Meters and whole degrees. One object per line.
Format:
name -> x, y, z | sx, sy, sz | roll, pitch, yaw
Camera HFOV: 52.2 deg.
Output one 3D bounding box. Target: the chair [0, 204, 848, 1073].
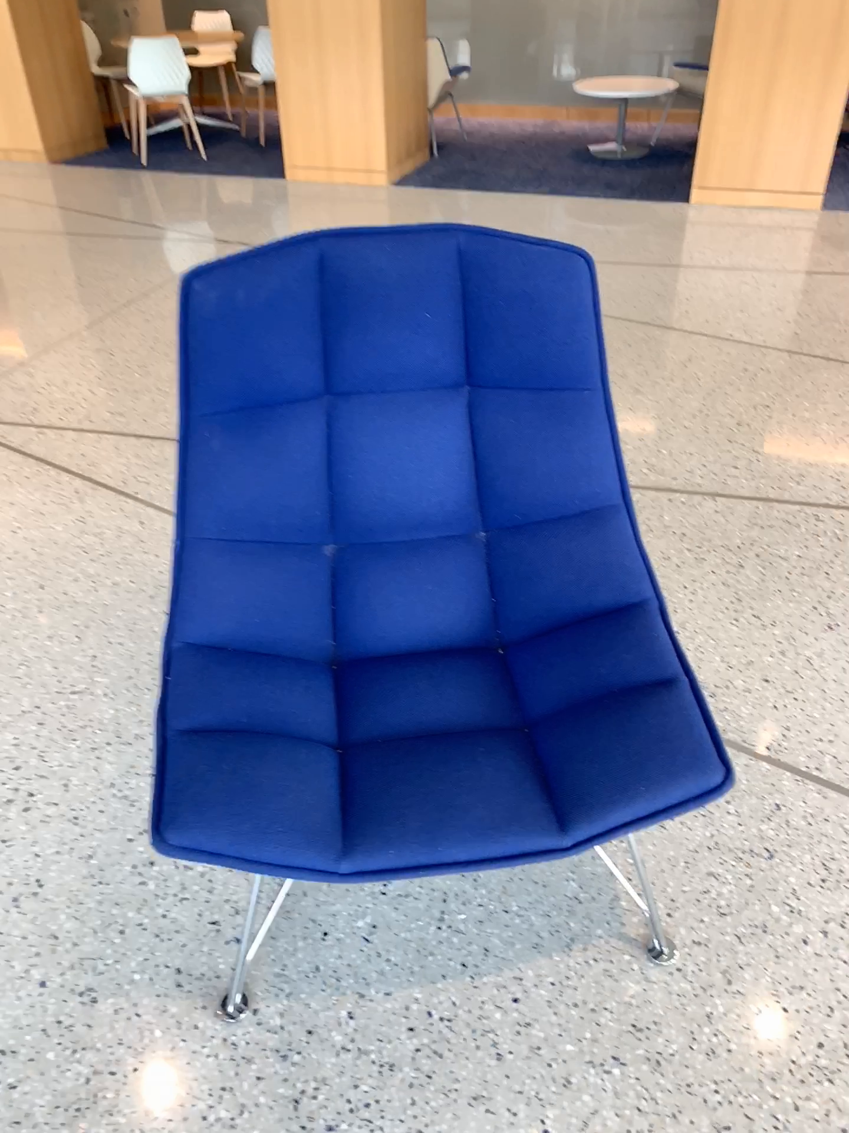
chair -> 0.007, 0.064, 1.346 | 0.798, 0.962, 0.836 | -5, 35, -4
